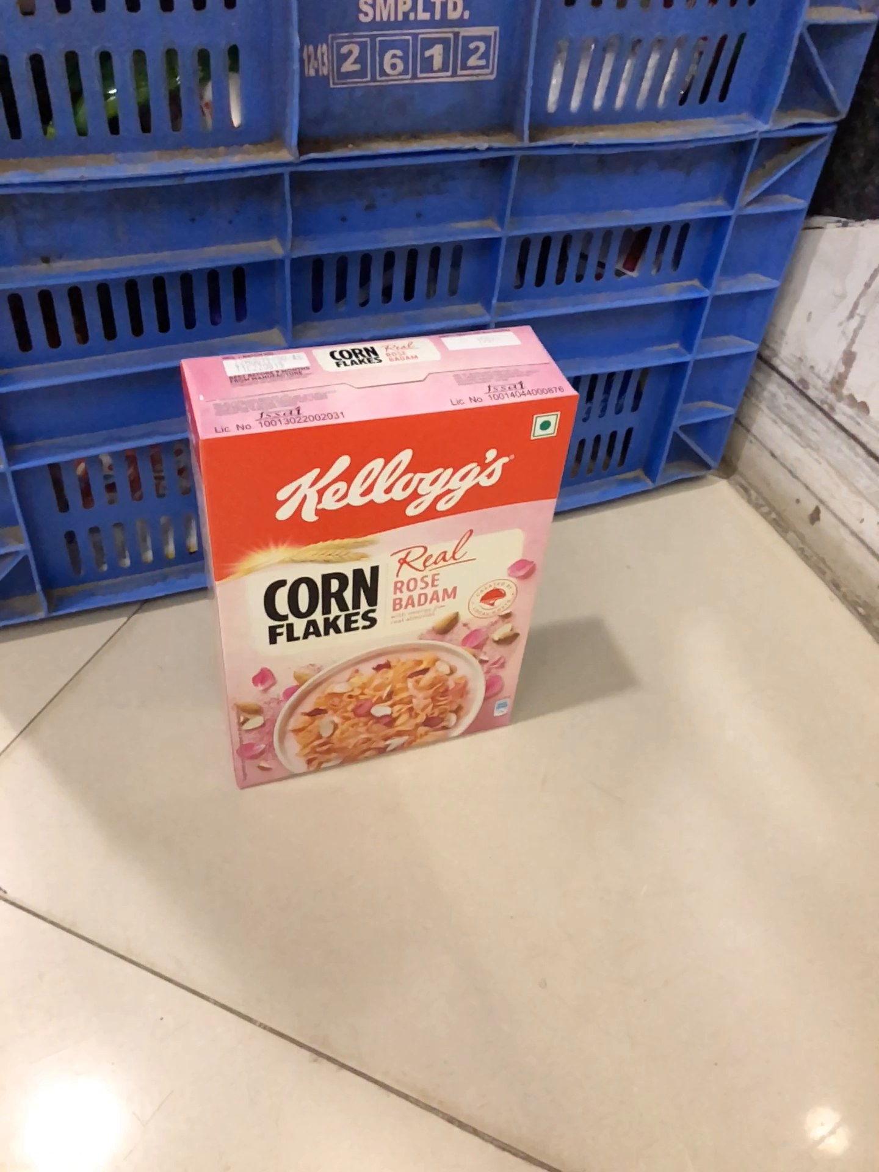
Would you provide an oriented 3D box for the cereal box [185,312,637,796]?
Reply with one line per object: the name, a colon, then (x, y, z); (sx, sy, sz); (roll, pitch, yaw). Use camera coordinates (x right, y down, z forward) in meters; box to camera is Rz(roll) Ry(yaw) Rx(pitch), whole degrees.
cereal box: (-0.022, -0.009, 0.543); (0.200, 0.258, 0.070); (-11, 47, -17)
